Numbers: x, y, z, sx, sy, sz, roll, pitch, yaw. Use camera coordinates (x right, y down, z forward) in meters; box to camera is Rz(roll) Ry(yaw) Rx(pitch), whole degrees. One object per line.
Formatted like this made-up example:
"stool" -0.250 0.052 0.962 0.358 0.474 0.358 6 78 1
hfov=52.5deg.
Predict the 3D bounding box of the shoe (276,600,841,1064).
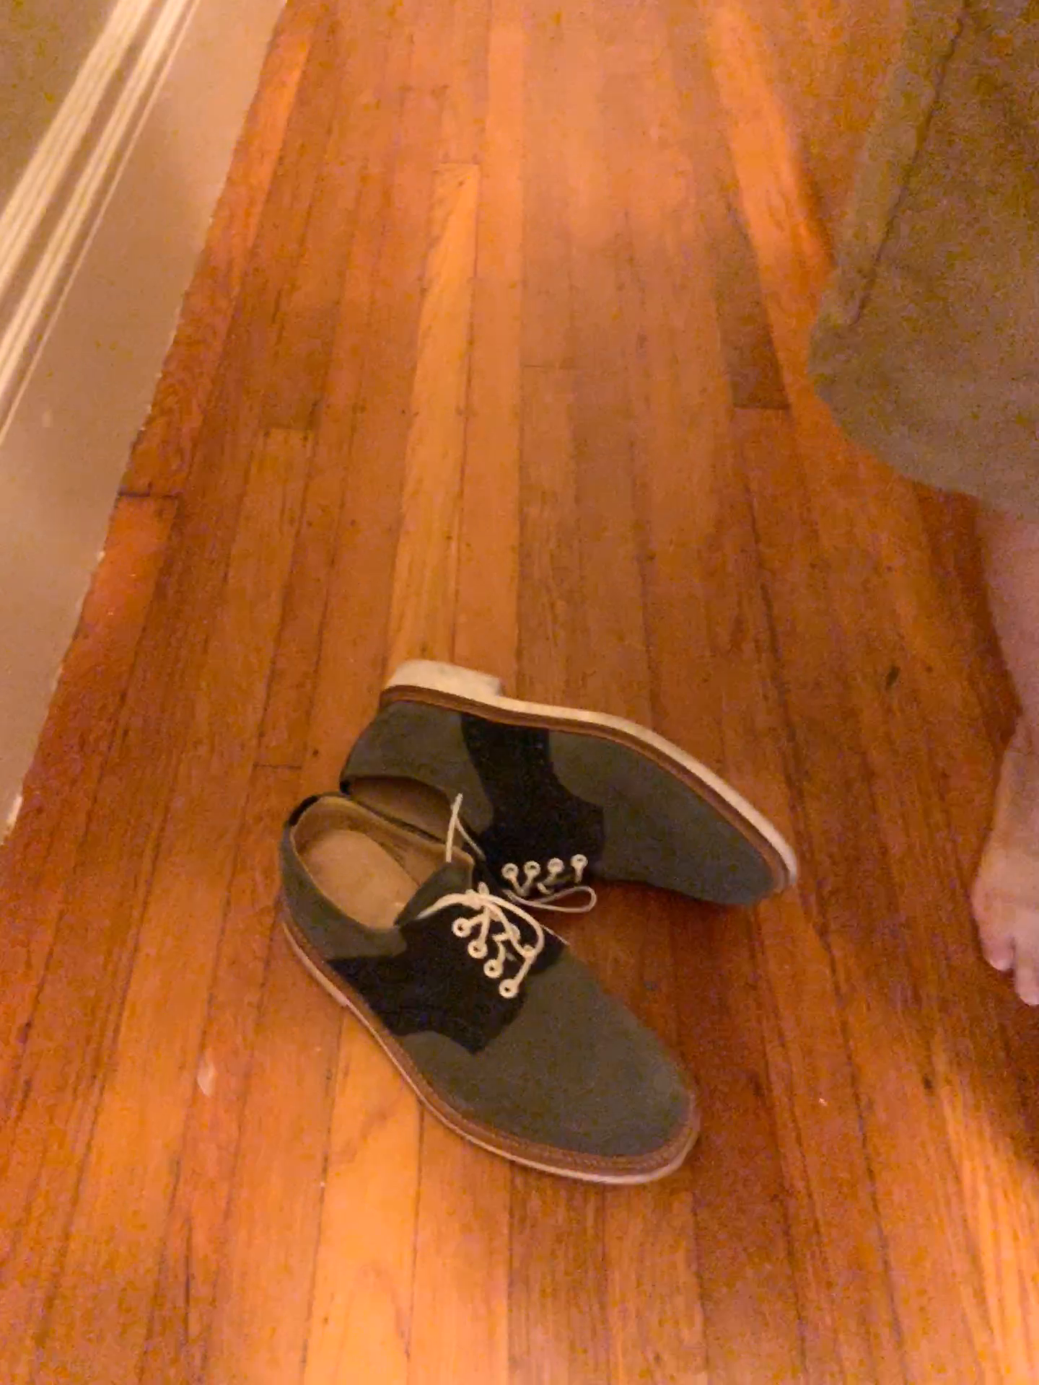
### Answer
"shoe" 0.018 0.085 0.668 0.310 0.129 0.120 26 59 15

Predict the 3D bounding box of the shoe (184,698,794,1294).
"shoe" -0.026 0.157 0.590 0.311 0.100 0.130 36 60 21
